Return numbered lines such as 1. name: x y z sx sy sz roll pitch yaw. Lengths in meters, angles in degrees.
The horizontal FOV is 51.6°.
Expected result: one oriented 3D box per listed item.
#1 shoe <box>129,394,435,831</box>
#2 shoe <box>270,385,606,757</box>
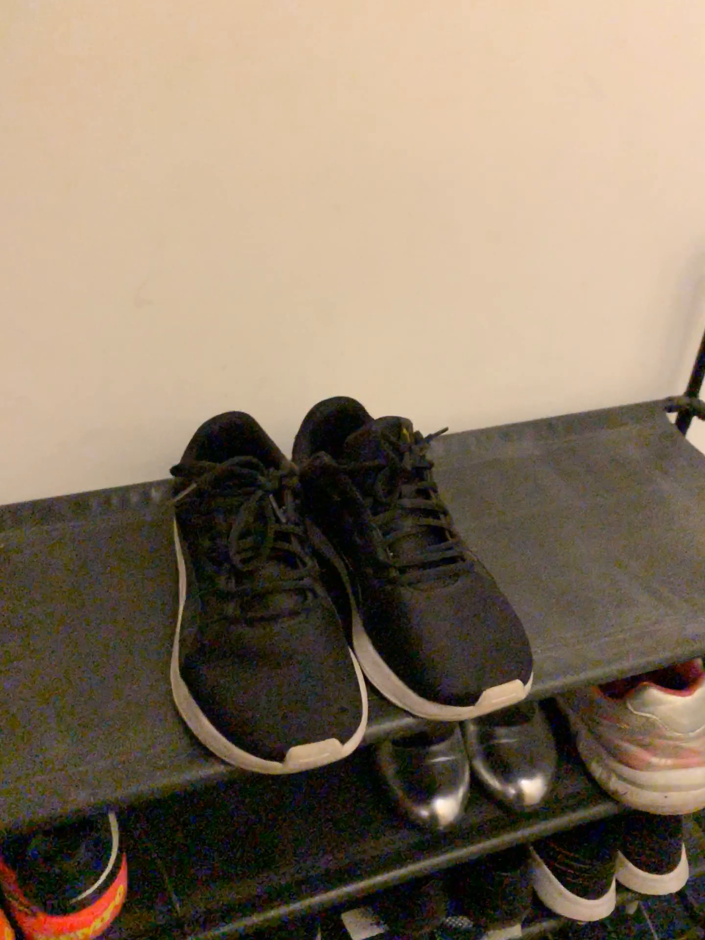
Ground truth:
1. shoe: -0.056 0.057 0.426 0.110 0.089 0.242 -10 35 -17
2. shoe: 0.033 0.041 0.476 0.110 0.069 0.262 -10 35 -16
